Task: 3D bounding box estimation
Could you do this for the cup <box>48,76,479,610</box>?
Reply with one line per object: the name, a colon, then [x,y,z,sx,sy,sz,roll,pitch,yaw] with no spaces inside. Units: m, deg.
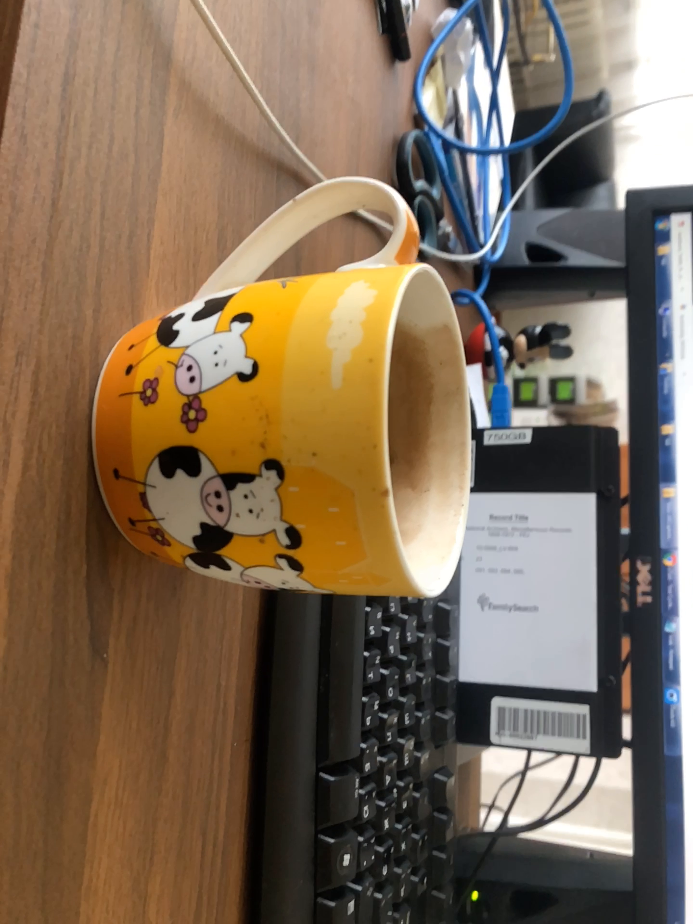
cup: [-0.016,-0.024,0.245,0.093,0.095,0.135,26,65,-66]
